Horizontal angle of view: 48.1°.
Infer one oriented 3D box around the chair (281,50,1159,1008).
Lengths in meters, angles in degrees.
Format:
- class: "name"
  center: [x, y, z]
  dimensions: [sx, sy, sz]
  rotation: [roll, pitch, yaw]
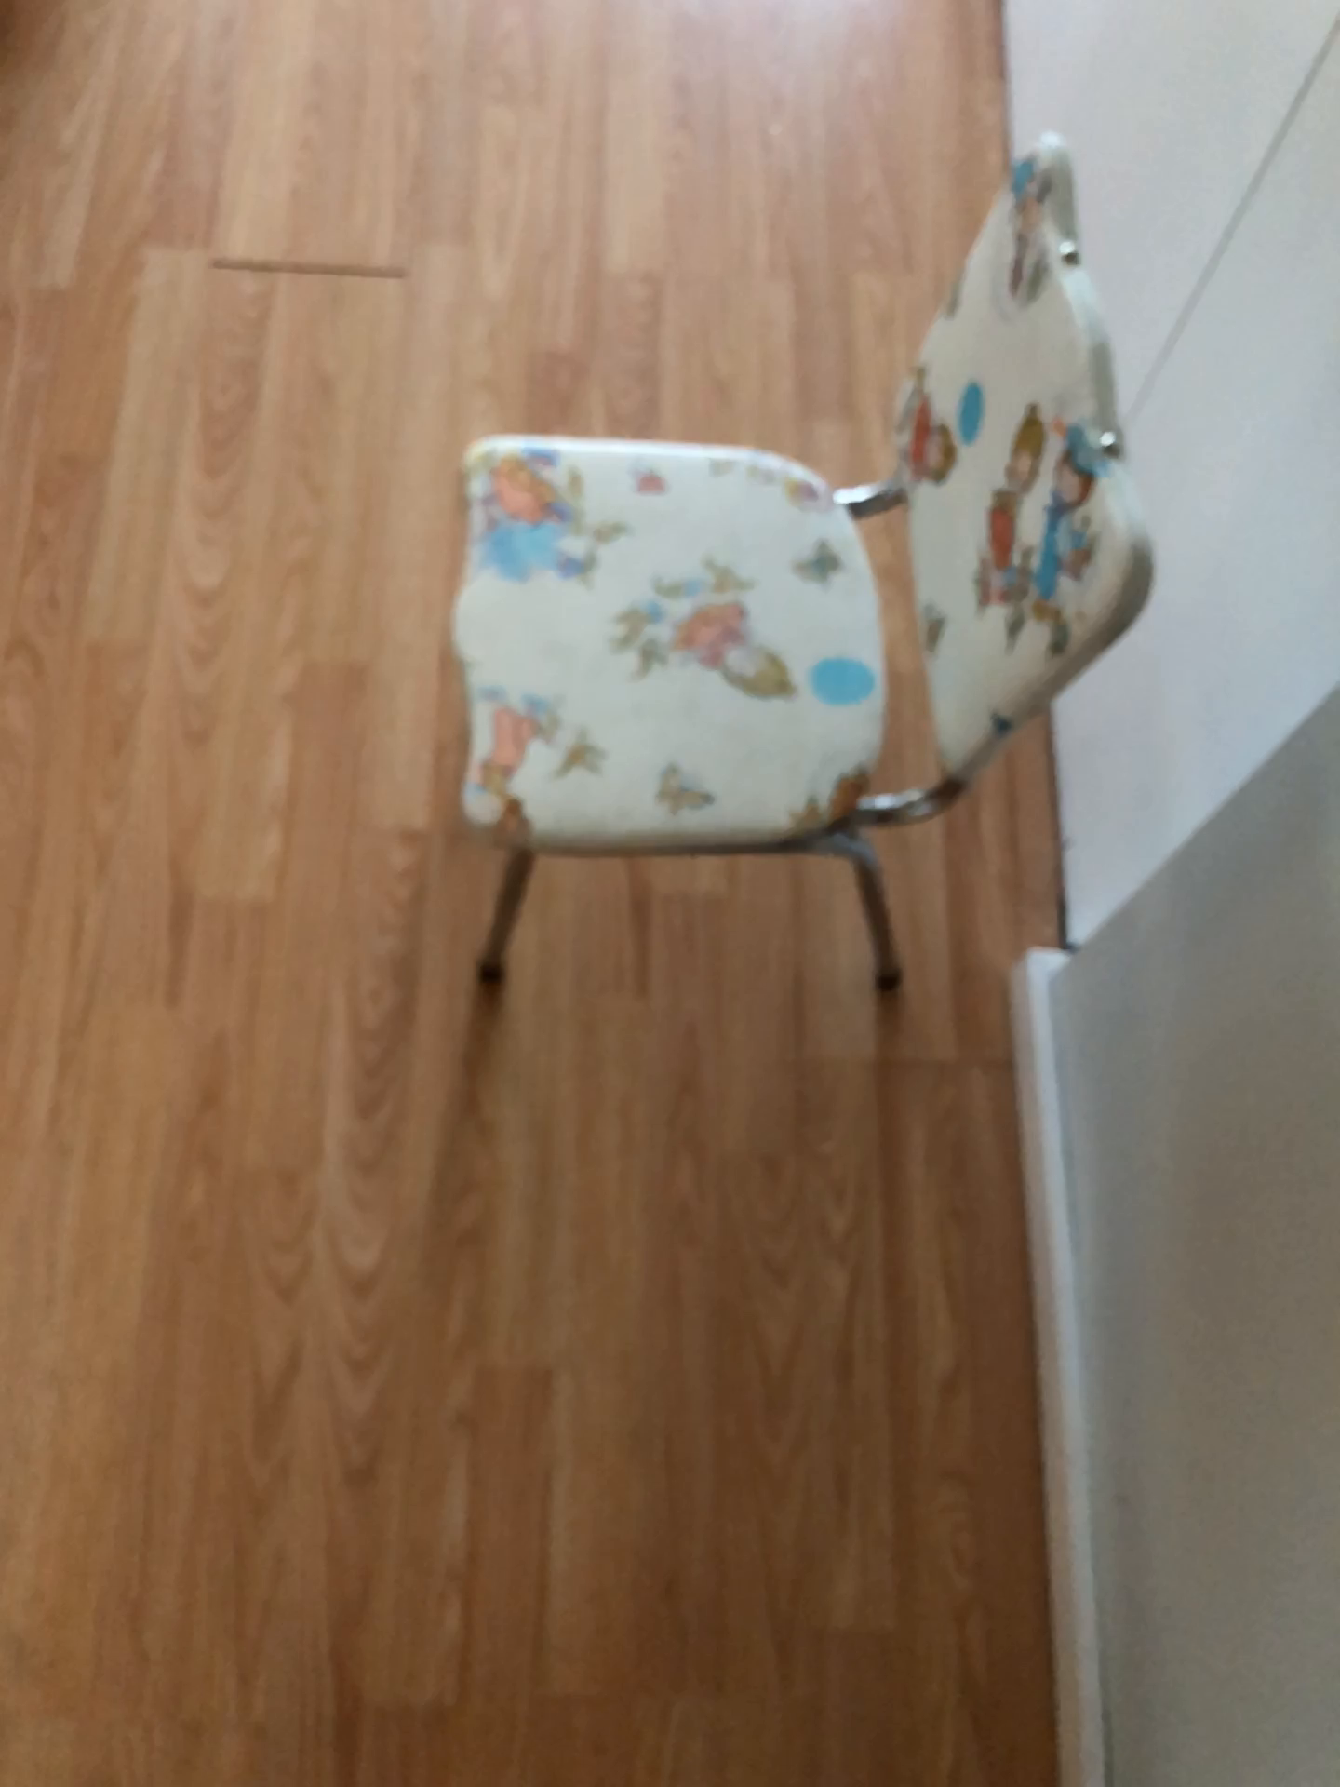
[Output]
- class: "chair"
  center: [0.005, -0.175, 0.987]
  dimensions: [0.390, 0.560, 0.350]
  rotation: [0, 69, -4]
